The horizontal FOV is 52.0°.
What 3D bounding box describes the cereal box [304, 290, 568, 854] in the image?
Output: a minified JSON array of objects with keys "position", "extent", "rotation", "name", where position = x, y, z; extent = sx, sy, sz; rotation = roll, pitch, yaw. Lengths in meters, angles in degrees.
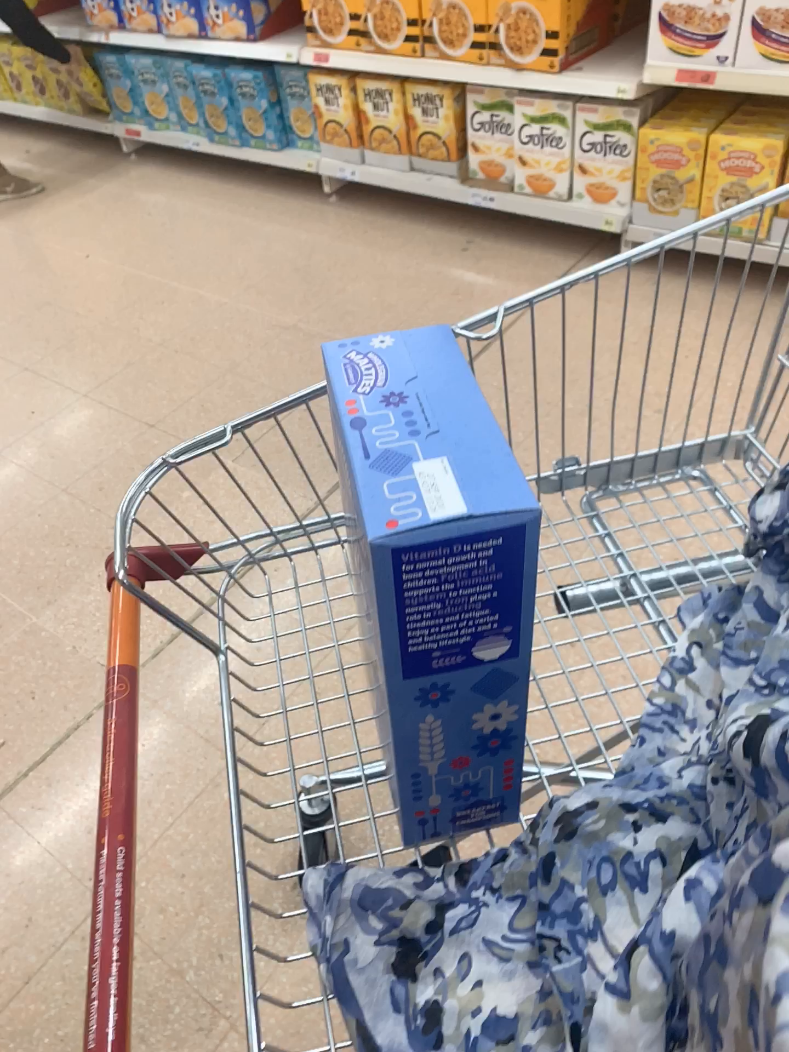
[{"position":[0.018,0.035,0.533],"extent":[0.090,0.287,0.222],"rotation":[-11,43,-7],"name":"cereal box"}]
